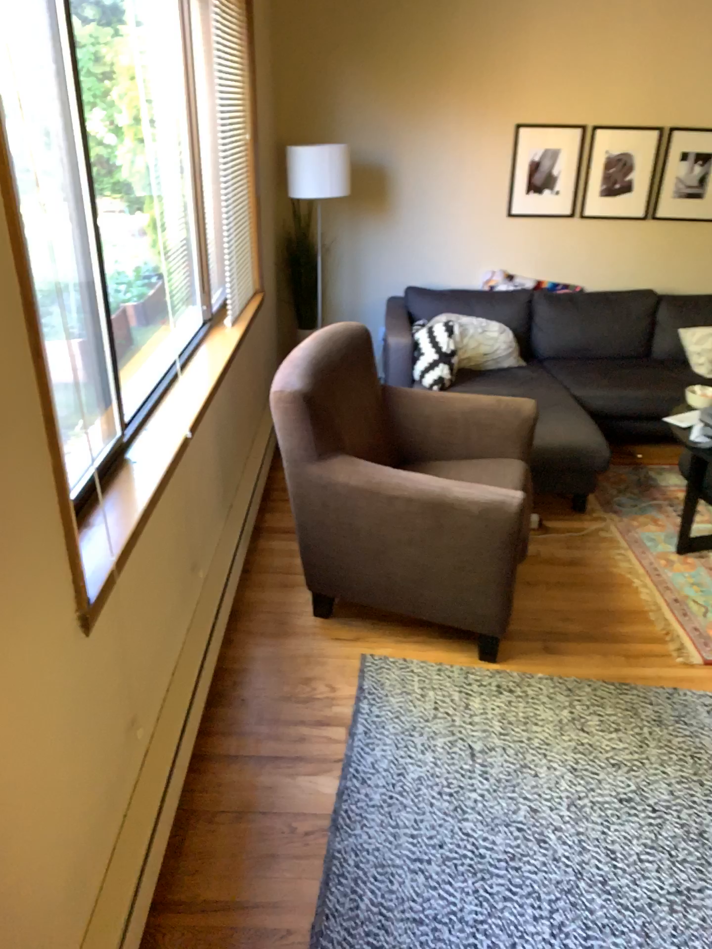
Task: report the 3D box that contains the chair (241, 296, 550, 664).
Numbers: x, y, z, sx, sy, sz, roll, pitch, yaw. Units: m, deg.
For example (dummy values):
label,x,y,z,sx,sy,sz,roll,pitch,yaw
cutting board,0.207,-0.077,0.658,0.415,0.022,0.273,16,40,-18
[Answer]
label,x,y,z,sx,sy,sz,roll,pitch,yaw
chair,0.198,-0.055,2.445,0.801,0.875,0.884,4,26,13
